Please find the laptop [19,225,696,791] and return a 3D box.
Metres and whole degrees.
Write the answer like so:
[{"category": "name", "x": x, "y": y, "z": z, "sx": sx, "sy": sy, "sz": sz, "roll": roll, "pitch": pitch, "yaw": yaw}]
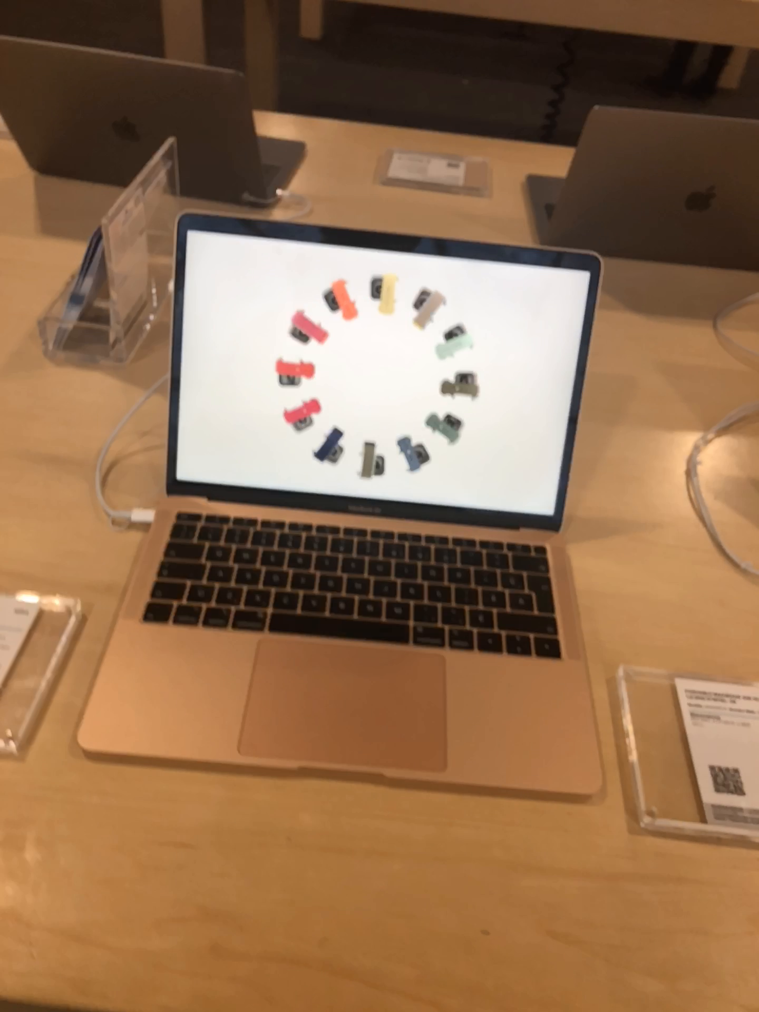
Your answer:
[{"category": "laptop", "x": -0.008, "y": -0.016, "z": 0.526, "sx": 0.289, "sy": 0.167, "sz": 0.299, "roll": 6, "pitch": 41, "yaw": -2}]
